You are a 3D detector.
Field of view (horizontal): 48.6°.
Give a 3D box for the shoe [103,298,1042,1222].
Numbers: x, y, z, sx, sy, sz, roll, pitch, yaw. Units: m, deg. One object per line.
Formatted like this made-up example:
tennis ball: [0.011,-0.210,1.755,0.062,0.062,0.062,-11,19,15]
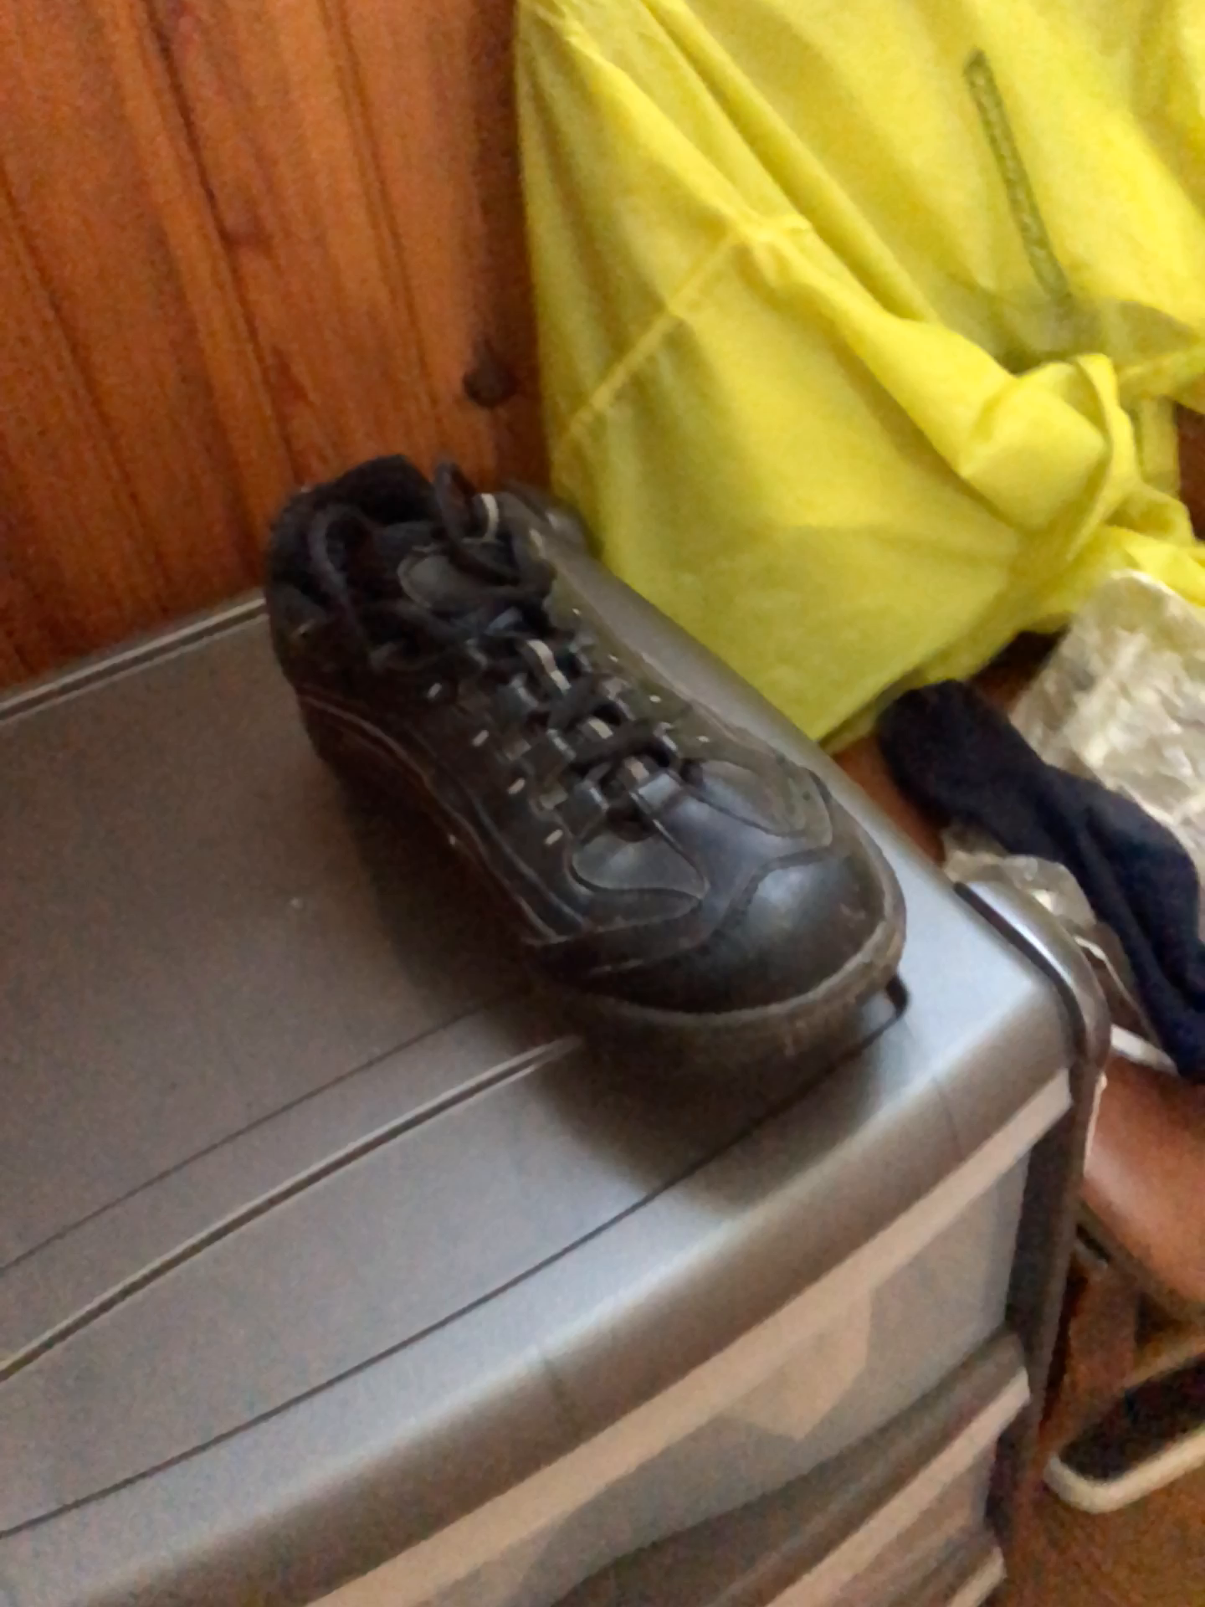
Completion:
shoe: [-0.022,-0.036,0.393,0.110,0.129,0.271,-32,46,-22]
